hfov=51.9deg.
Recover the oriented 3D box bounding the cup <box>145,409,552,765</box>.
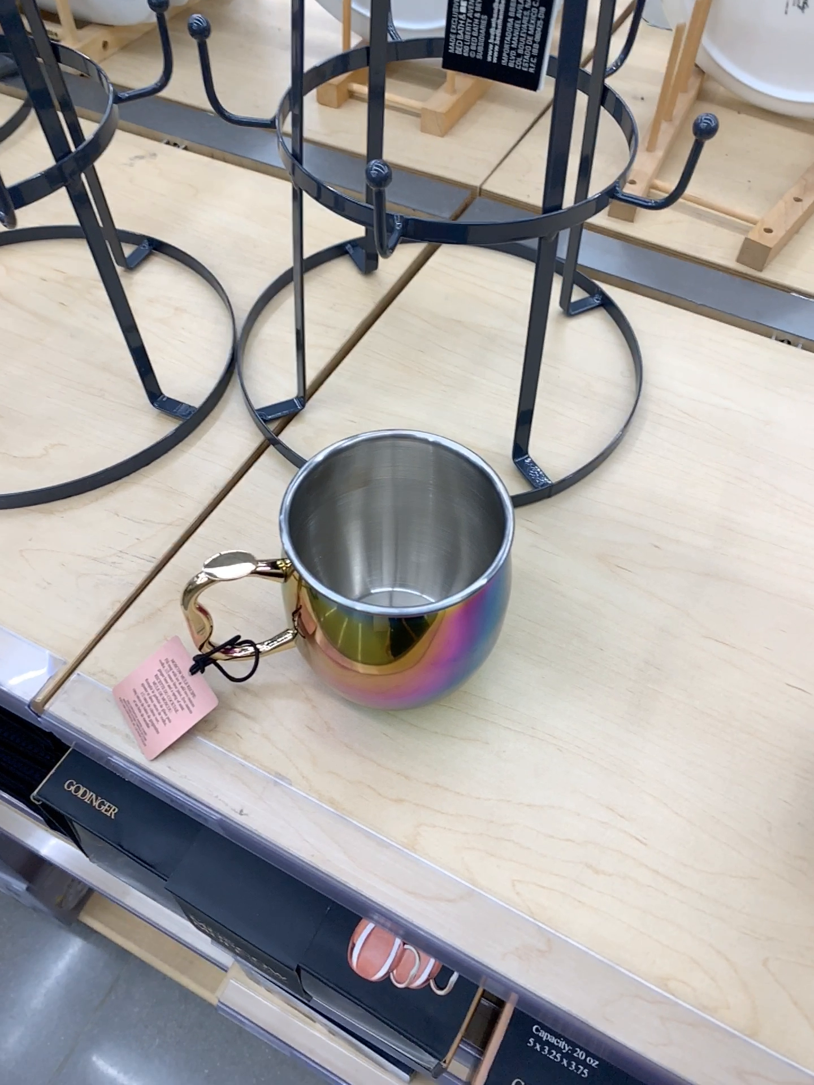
[{"bbox_3d":[-0.025,0.019,0.332,0.130,0.089,0.085,-10,56,-8],"label":"cup"}]
